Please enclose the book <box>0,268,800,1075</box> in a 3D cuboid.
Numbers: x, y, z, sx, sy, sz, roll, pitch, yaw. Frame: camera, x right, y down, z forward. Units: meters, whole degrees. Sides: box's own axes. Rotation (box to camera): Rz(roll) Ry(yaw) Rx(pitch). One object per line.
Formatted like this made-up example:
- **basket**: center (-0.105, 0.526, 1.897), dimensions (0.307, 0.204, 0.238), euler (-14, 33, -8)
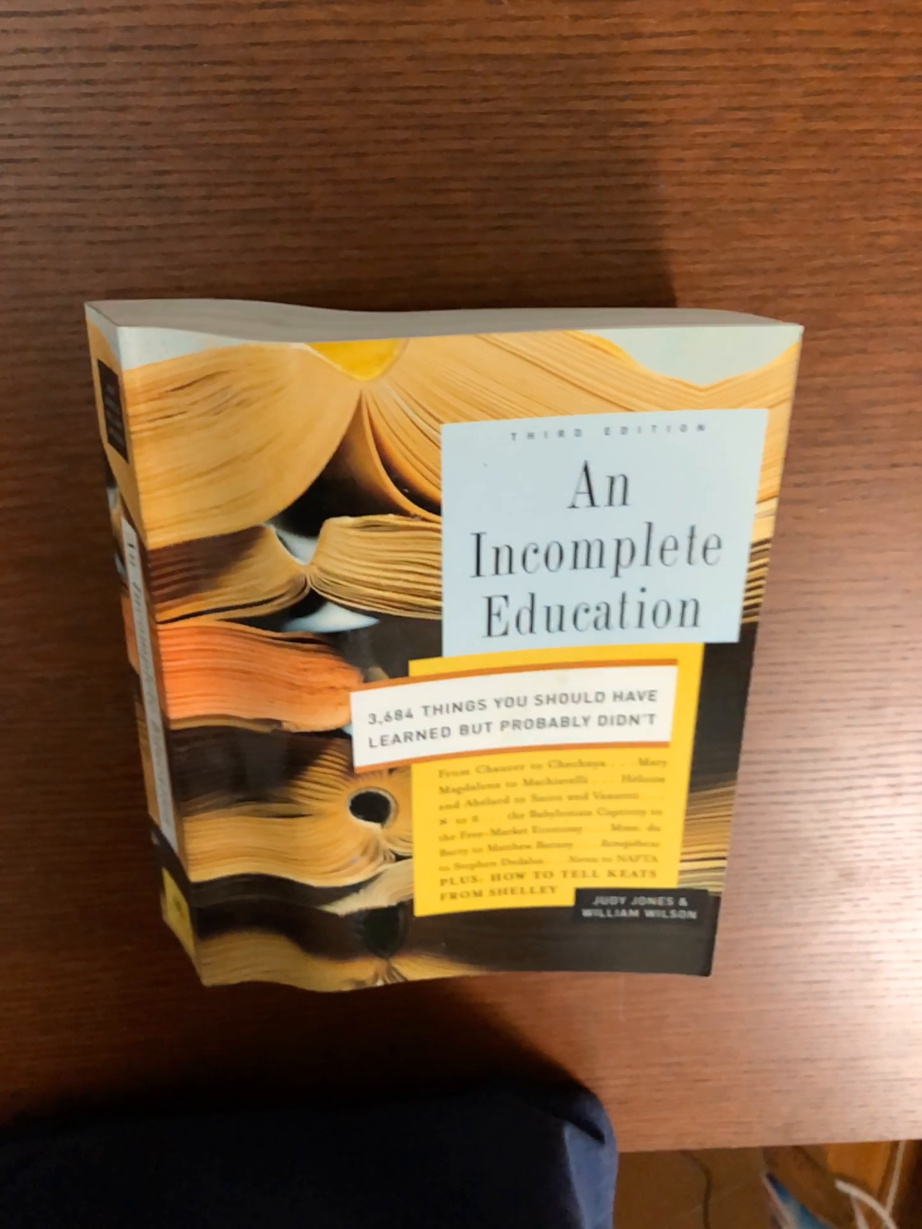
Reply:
- **book**: center (-0.014, 0.024, 0.343), dimensions (0.210, 0.060, 0.250), euler (-6, 117, -9)
